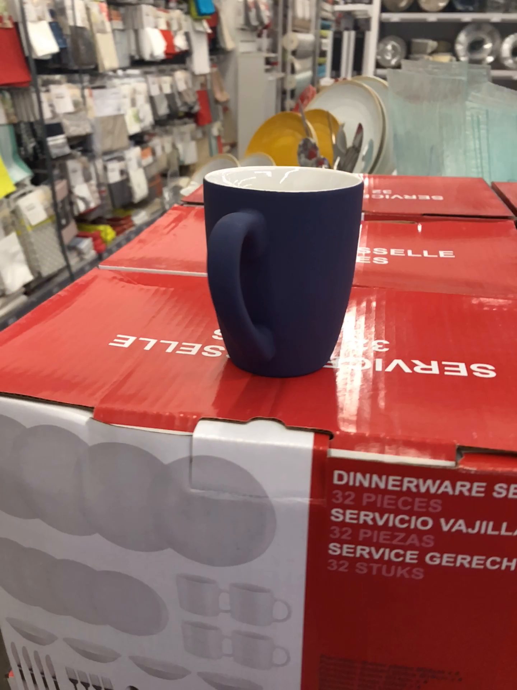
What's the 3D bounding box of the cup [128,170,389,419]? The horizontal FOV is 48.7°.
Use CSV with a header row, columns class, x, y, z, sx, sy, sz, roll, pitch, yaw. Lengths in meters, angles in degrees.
class,x,y,z,sx,sy,sz,roll,pitch,yaw
cup,0.010,-0.037,0.292,0.090,0.088,0.121,6,24,18
